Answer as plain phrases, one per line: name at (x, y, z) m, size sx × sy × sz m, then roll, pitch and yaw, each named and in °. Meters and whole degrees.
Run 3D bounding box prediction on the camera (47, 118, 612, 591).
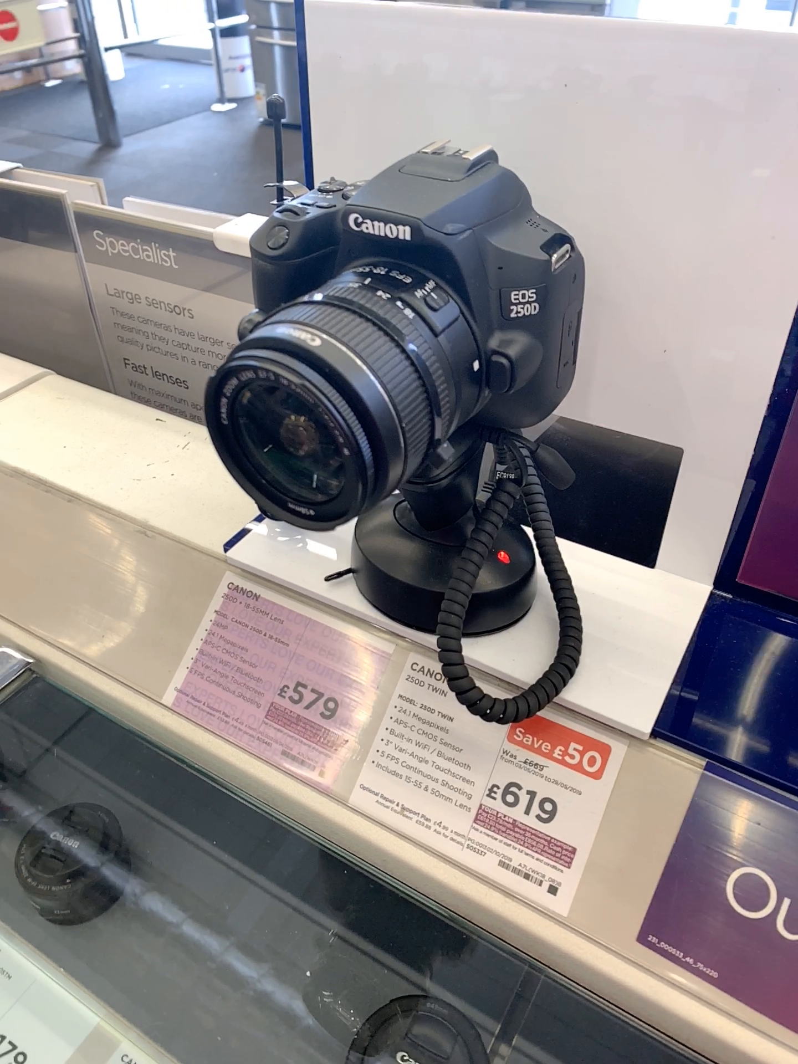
camera at (-0.013, -0.075, 0.285) m, size 0.120 × 0.089 × 0.141 m, roll 19°, pitch 43°, yaw 23°
